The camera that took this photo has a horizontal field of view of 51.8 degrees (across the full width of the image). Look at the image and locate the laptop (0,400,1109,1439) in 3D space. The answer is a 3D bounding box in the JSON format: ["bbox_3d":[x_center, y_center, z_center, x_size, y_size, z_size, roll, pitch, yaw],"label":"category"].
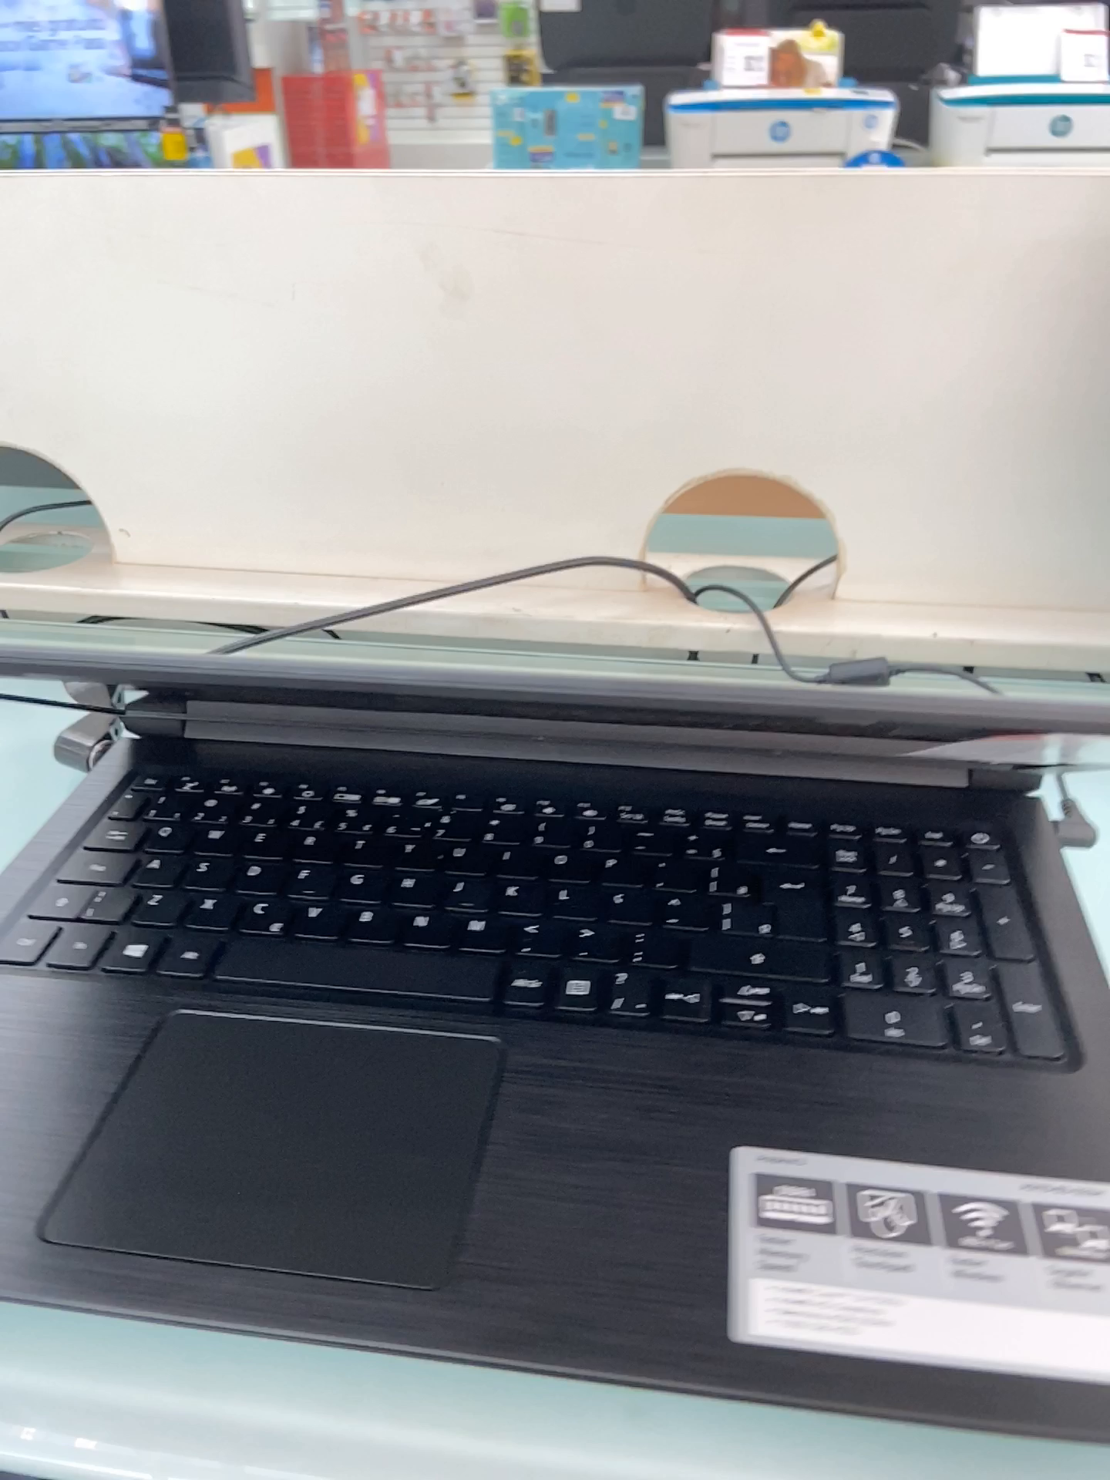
[{"bbox_3d":[-0.019,0.011,0.316,0.367,0.142,0.234,3,32,8],"label":"laptop"}]
